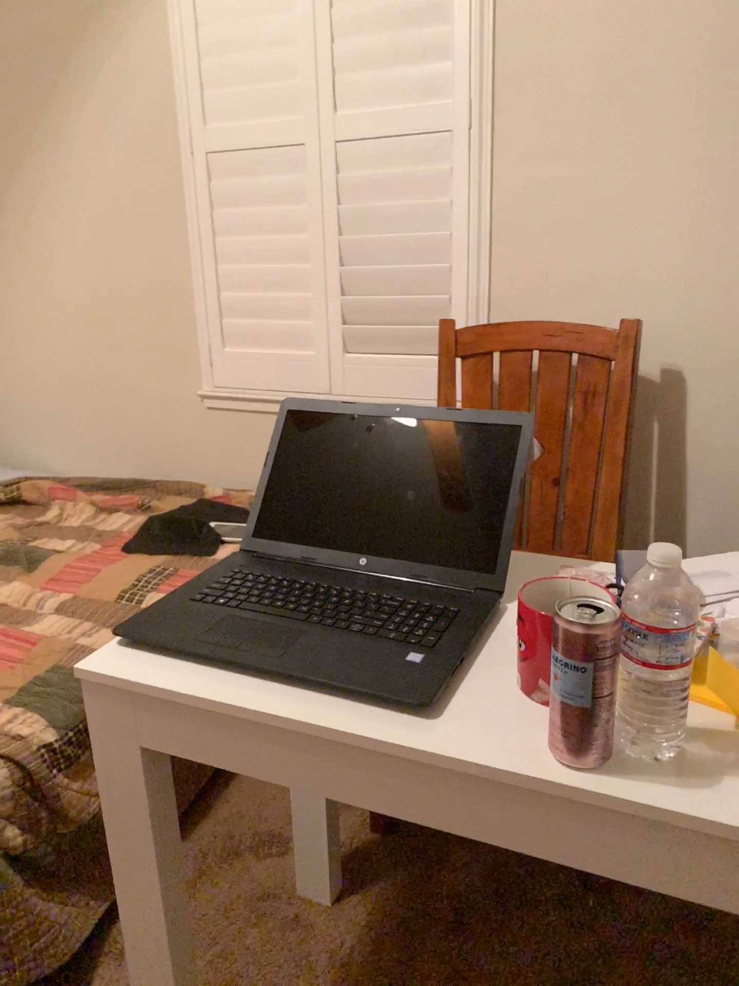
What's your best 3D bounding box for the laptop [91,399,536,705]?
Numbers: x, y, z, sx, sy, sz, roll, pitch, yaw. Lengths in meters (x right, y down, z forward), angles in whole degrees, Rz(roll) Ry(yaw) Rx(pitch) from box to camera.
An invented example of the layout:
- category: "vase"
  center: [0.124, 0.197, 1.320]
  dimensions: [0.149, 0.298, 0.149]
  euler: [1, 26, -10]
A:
- category: "laptop"
  center: [-0.039, 0.027, 0.969]
  dimensions: [0.400, 0.197, 0.417]
  euler: [6, 20, 25]
